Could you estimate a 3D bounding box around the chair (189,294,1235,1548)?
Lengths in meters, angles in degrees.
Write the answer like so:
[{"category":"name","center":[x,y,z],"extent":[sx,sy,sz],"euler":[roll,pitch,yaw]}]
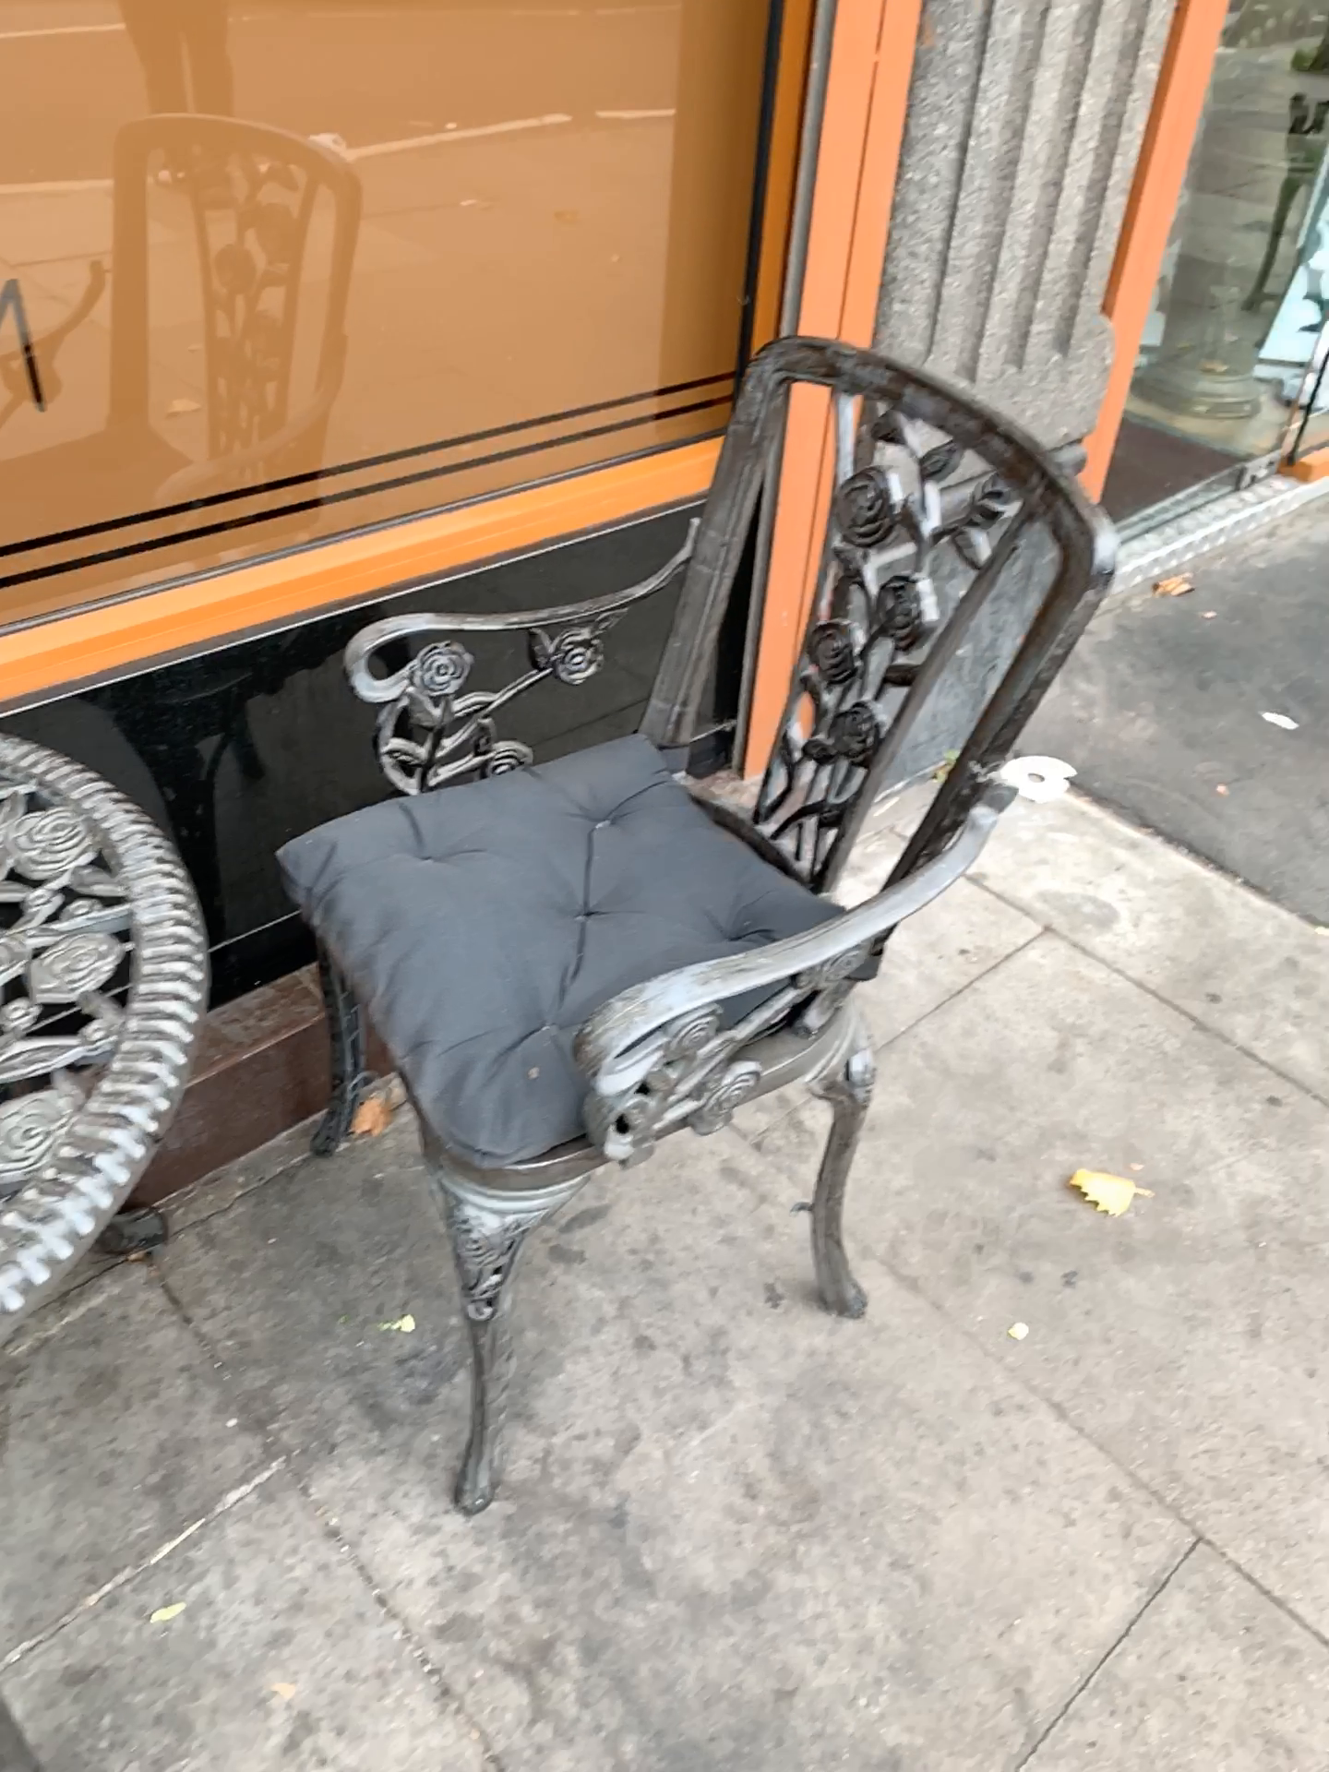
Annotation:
[{"category":"chair","center":[-0.025,0.005,1.186],"extent":[0.552,0.852,0.493],"euler":[-17,43,-32]}]
